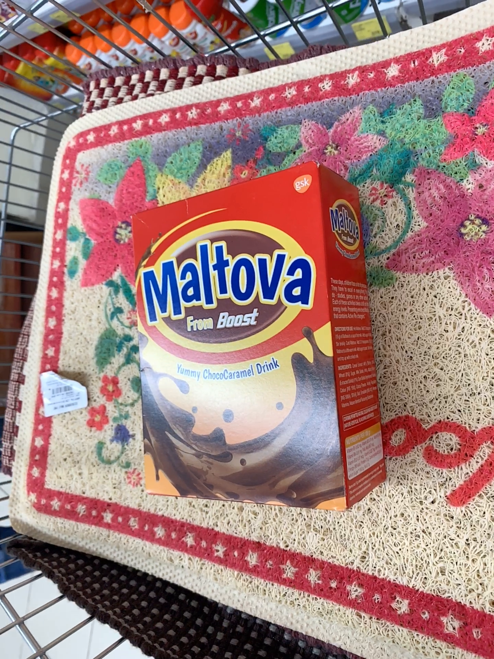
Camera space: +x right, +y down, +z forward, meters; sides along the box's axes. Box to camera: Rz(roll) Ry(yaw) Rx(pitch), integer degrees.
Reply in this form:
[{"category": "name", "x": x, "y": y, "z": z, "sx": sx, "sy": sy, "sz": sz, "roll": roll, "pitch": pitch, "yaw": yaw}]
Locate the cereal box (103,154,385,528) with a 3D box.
[{"category": "cereal box", "x": -0.009, "y": 0.011, "z": 0.295, "sx": 0.151, "sy": 0.050, "sz": 0.170, "roll": -7, "pitch": 85, "yaw": 34}]
